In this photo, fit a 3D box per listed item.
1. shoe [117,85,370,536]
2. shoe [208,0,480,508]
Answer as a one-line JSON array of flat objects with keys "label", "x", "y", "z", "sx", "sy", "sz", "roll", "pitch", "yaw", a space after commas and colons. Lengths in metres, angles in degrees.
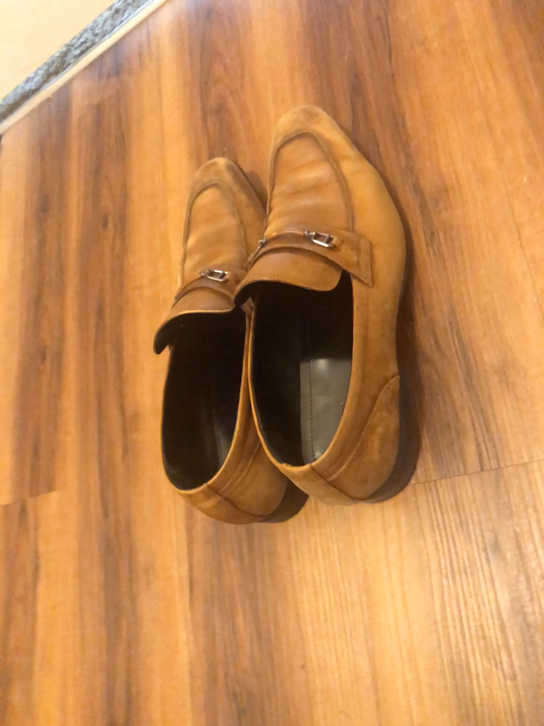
[{"label": "shoe", "x": -0.030, "y": -0.035, "z": 0.462, "sx": 0.107, "sy": 0.111, "sz": 0.308, "roll": -23, "pitch": 65, "yaw": 30}, {"label": "shoe", "x": 0.041, "y": -0.066, "z": 0.415, "sx": 0.107, "sy": 0.111, "sz": 0.308, "roll": -18, "pitch": 67, "yaw": 32}]
